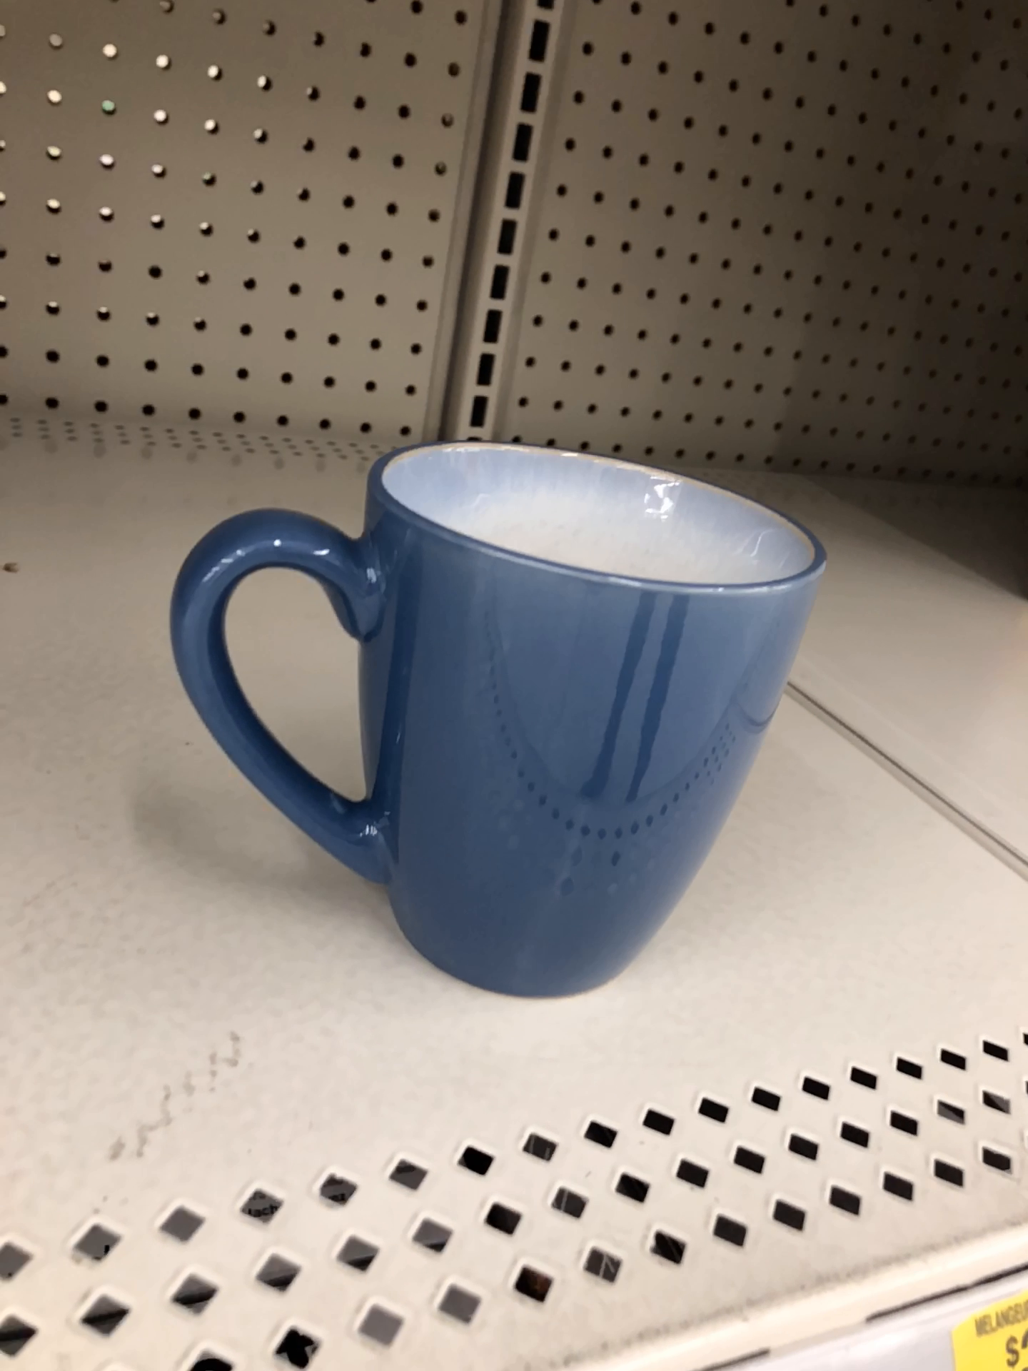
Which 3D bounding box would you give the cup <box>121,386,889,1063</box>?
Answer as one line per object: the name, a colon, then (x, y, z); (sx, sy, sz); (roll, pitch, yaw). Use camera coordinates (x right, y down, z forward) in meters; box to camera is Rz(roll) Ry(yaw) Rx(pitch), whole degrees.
cup: (-0.014, 0.001, 0.249); (0.127, 0.098, 0.097); (0, 26, -23)
